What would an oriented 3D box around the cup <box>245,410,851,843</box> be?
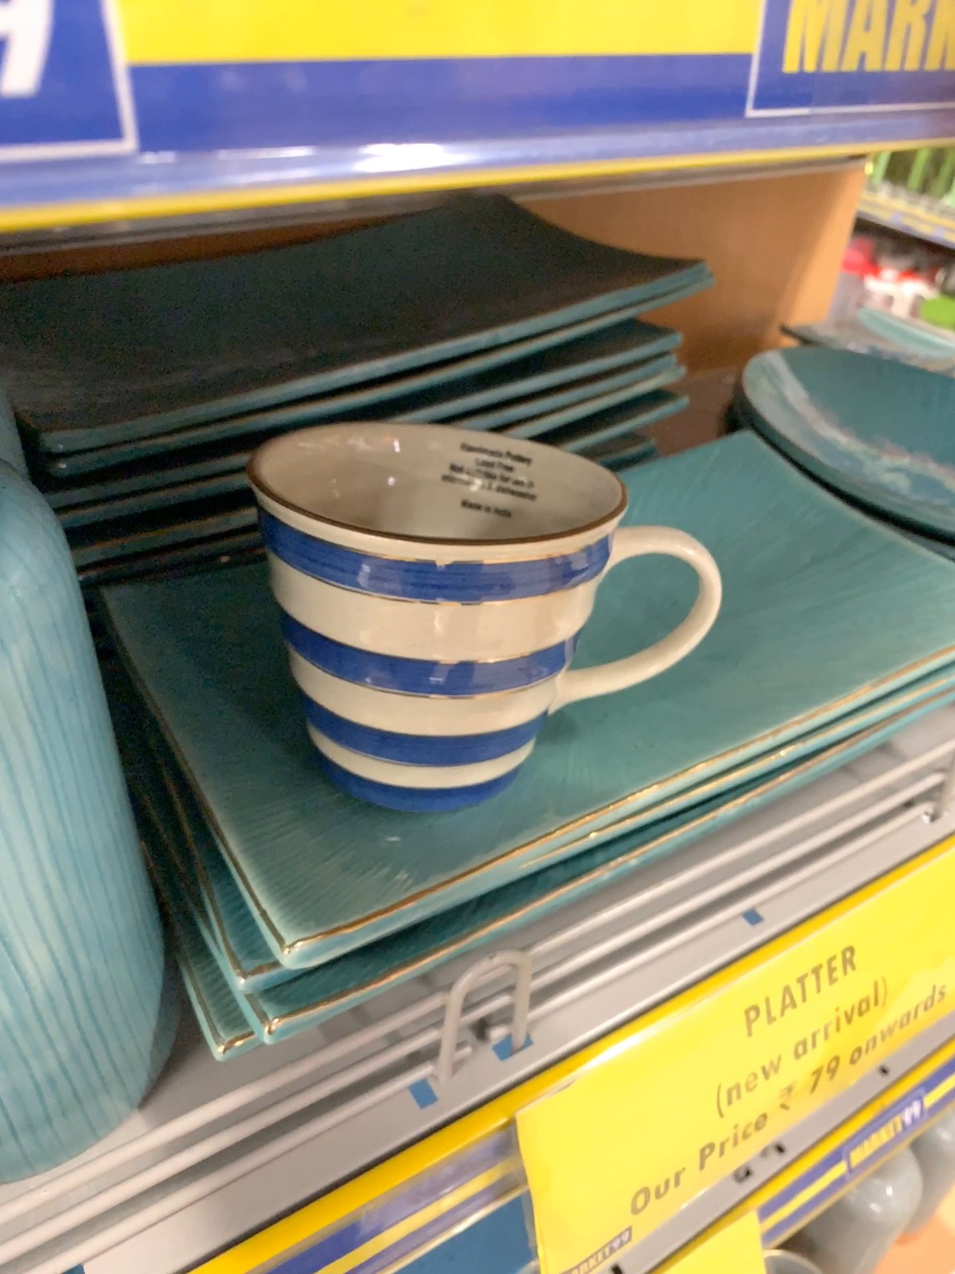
[{"bbox_3d":[0.009,-0.012,0.290,0.140,0.080,0.100,-3,29,-17],"label":"cup"}]
